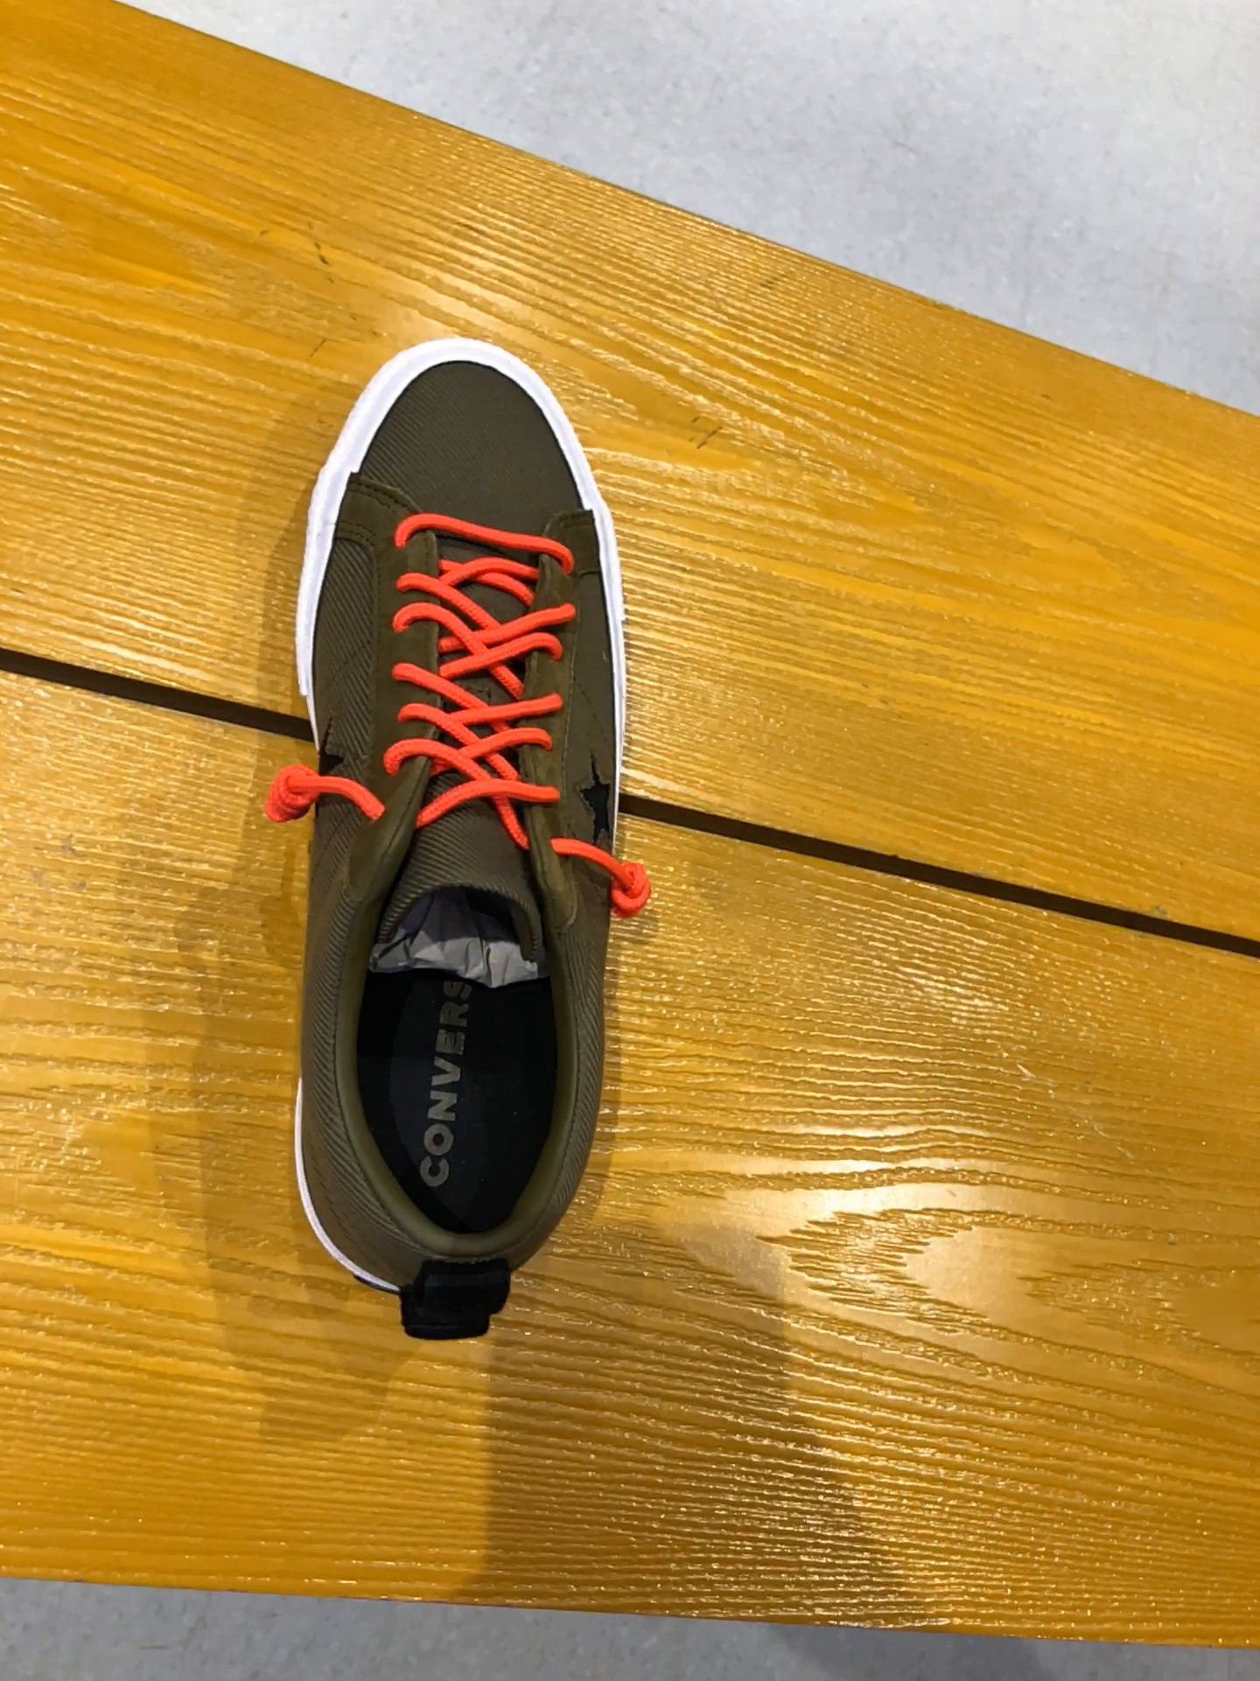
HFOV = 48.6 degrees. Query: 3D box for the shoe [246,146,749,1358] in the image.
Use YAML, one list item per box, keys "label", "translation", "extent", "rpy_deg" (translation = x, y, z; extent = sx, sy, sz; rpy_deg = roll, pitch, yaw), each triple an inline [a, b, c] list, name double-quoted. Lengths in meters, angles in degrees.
- label: "shoe"
  translation: [-0.037, -0.021, 0.383]
  extent: [0.105, 0.097, 0.293]
  rpy_deg: [5, 75, -18]
